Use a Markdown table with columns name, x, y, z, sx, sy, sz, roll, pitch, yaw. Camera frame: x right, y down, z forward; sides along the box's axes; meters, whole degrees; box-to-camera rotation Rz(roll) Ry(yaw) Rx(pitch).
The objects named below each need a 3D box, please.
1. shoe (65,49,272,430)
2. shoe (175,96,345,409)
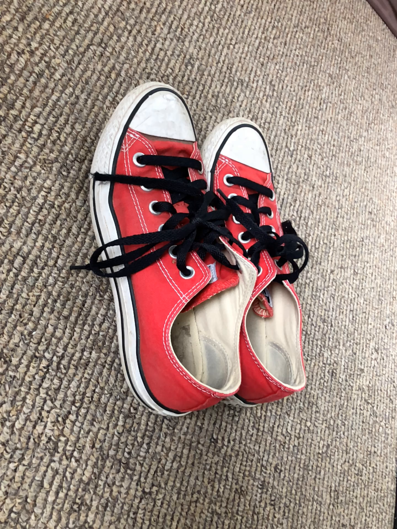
| name | x | y | z | sx | sy | sz | roll | pitch | yaw |
| --- | --- | --- | --- | --- | --- | --- | --- | --- | --- |
| shoe | -0.031 | -0.016 | 0.360 | 0.103 | 0.096 | 0.262 | 1 | 76 | -40 |
| shoe | 0.052 | -0.006 | 0.414 | 0.103 | 0.088 | 0.258 | 7 | 72 | -38 |
